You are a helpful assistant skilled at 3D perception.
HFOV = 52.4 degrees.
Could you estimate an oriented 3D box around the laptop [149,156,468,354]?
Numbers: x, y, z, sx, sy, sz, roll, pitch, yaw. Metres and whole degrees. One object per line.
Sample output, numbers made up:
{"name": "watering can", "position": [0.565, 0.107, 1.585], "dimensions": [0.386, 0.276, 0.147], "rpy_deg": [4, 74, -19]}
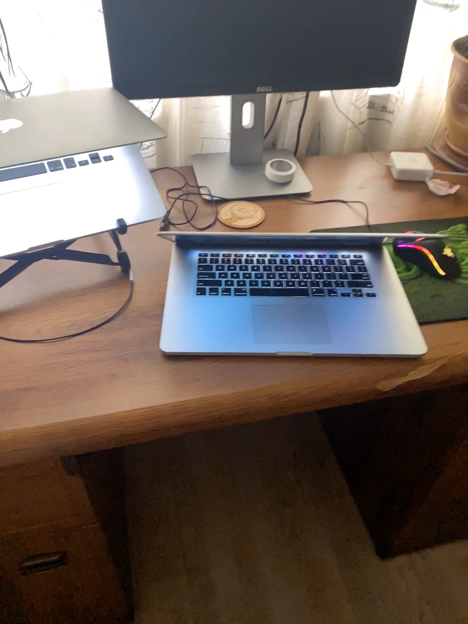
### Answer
{"name": "laptop", "position": [0.080, -0.085, 0.661], "dimensions": [0.355, 0.152, 0.236], "rpy_deg": [1, 44, -2]}

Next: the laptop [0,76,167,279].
{"name": "laptop", "position": [-0.305, -0.207, 0.664], "dimensions": [0.355, 0.022, 0.243], "rpy_deg": [-19, 72, -21]}
